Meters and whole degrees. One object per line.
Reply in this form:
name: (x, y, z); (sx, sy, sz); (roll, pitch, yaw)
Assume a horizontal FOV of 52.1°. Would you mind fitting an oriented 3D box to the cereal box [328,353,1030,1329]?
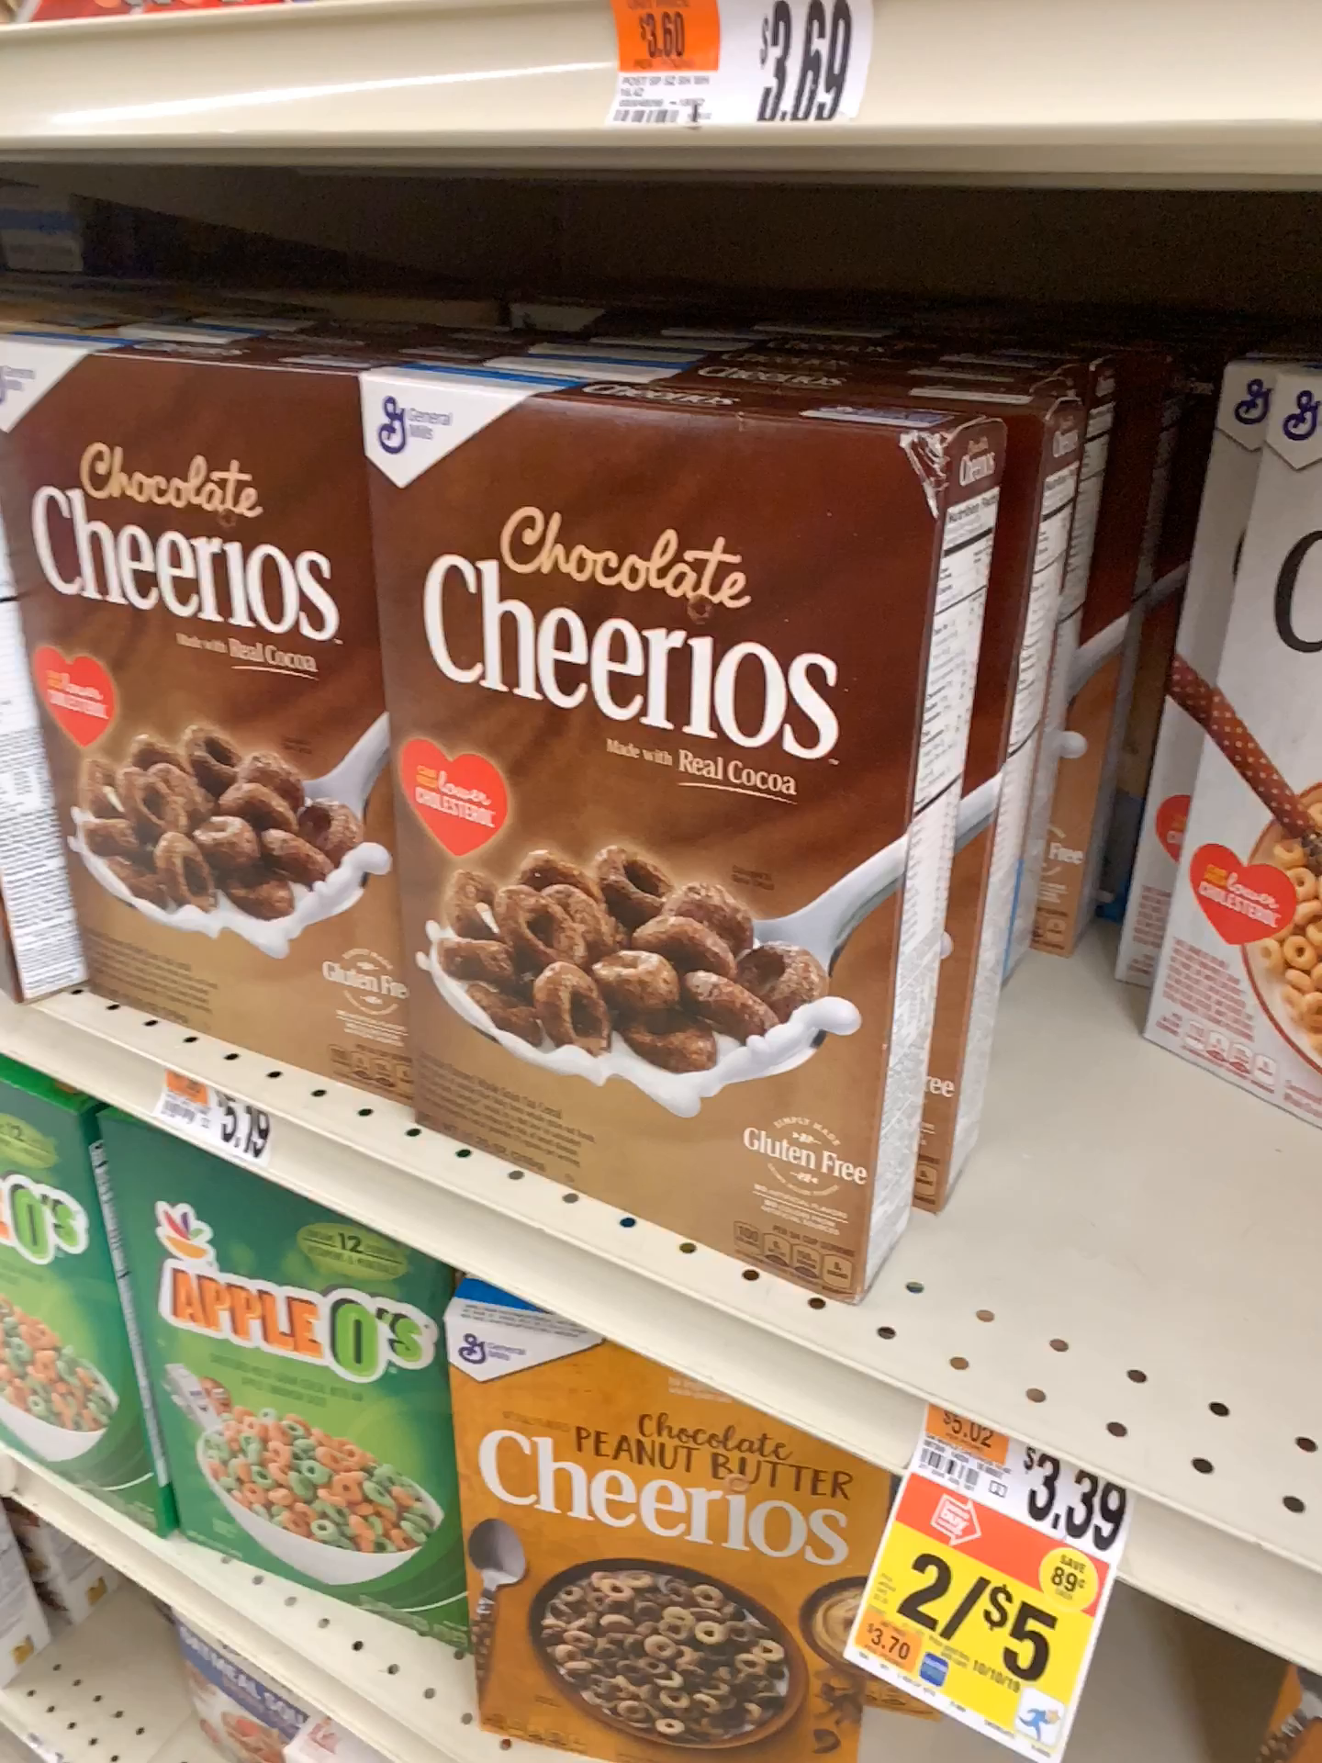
cereal box: (-0.003, -0.016, 0.474); (0.210, 0.298, 0.060); (16, 31, 28)
